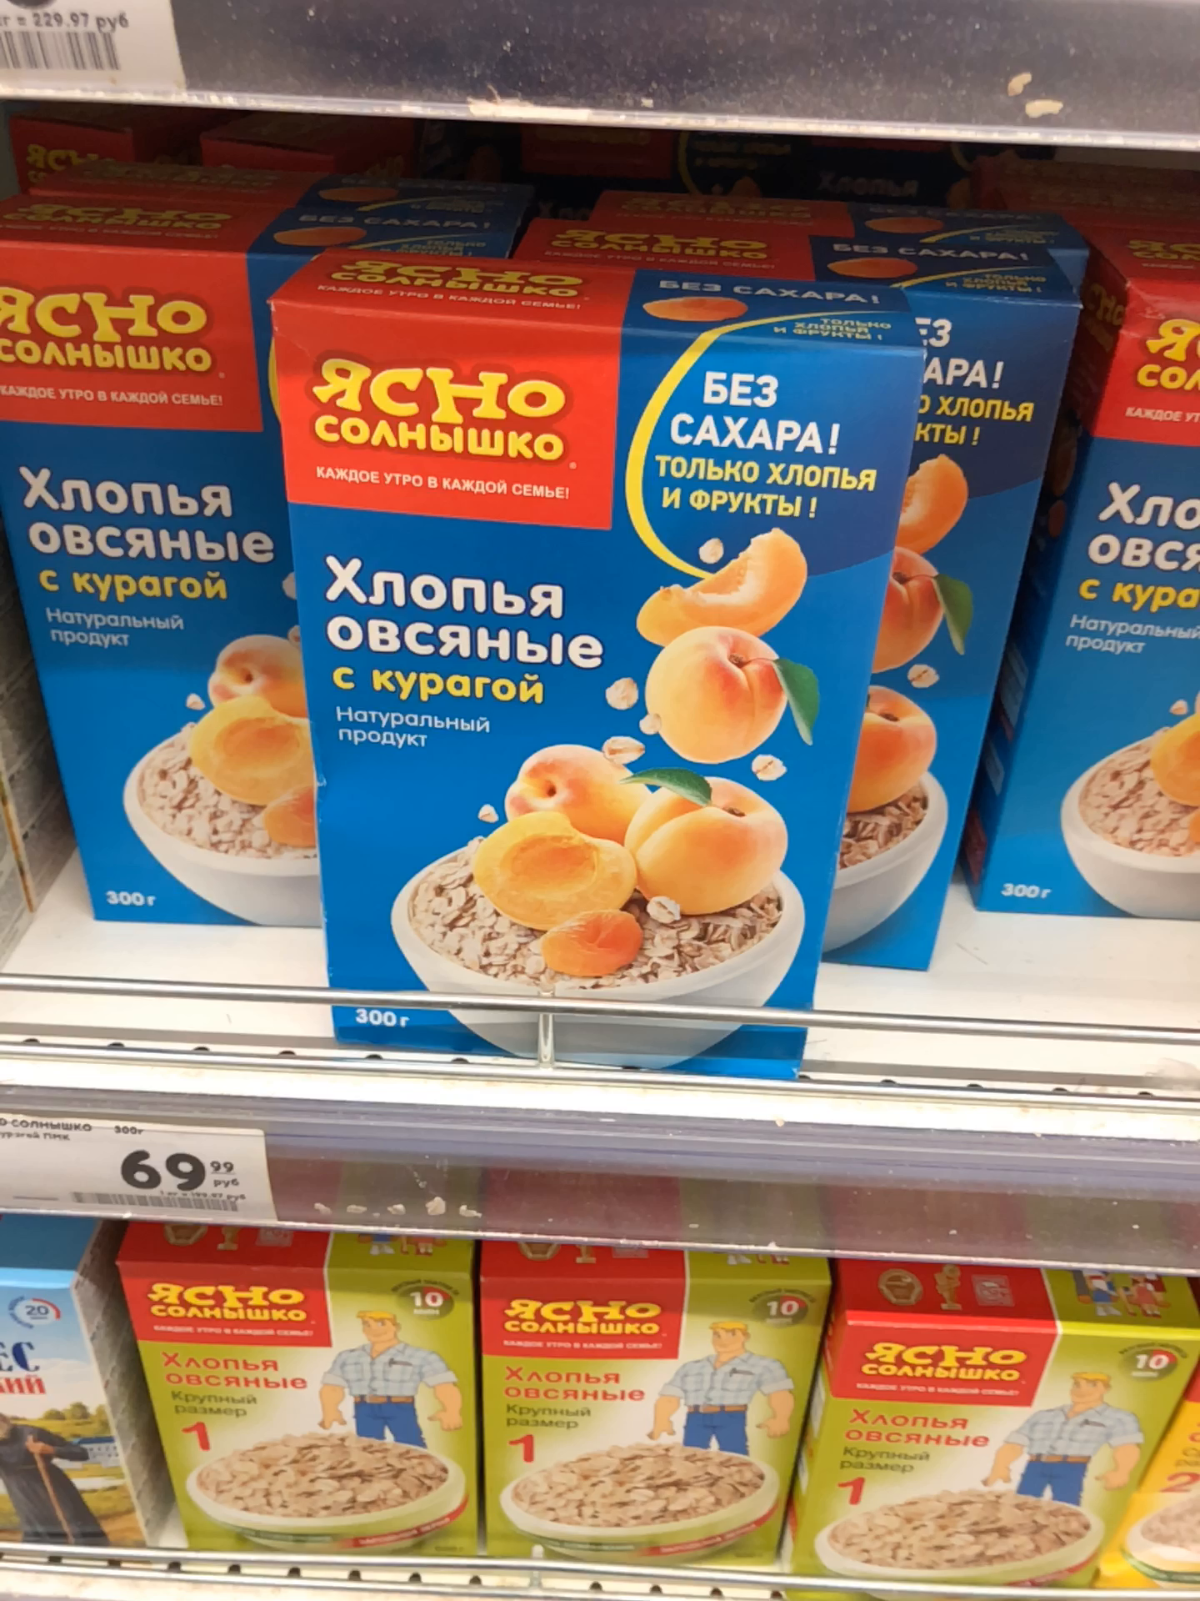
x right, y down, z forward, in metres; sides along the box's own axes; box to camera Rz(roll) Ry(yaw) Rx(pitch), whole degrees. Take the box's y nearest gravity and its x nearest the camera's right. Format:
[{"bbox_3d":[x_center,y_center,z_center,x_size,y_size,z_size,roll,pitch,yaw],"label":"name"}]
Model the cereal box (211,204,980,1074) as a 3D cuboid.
[{"bbox_3d":[-0.003,-0.030,0.338,0.150,0.209,0.050,4,34,3],"label":"cereal box"}]
